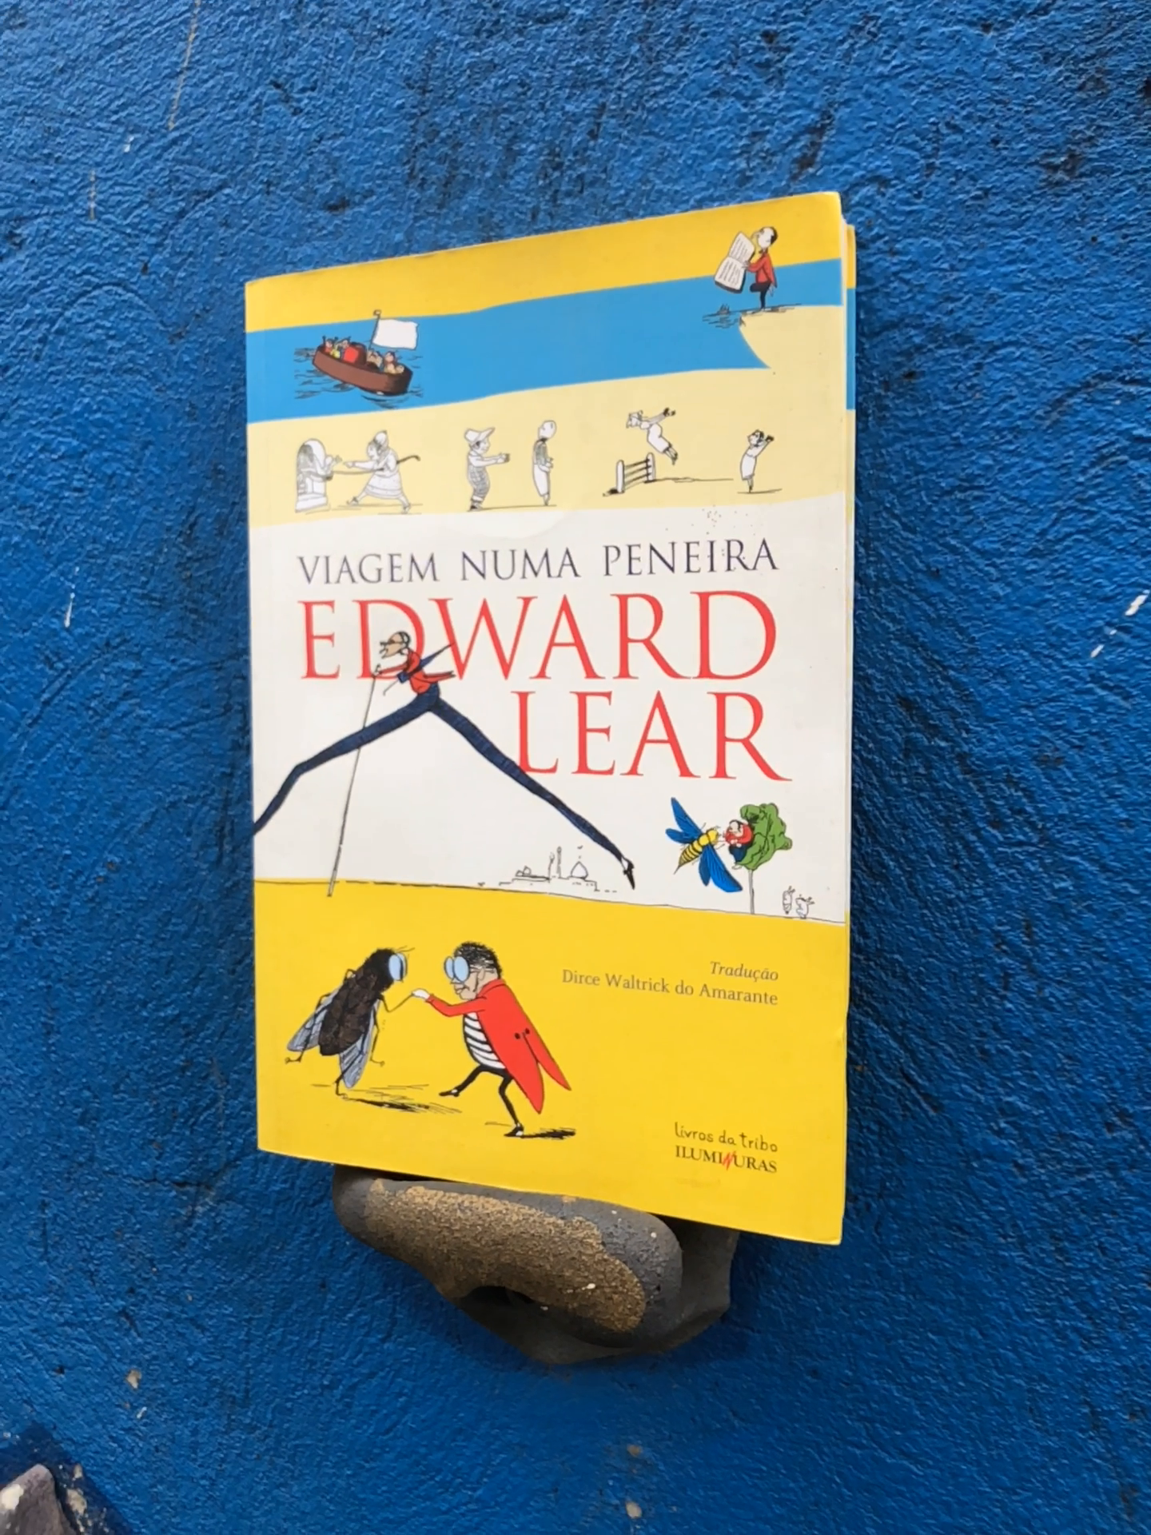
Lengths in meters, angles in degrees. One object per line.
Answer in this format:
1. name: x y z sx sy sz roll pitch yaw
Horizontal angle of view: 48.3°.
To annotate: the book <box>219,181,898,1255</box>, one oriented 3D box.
1. book: -0.008 -0.010 0.300 0.158 0.220 0.021 2 5 21
